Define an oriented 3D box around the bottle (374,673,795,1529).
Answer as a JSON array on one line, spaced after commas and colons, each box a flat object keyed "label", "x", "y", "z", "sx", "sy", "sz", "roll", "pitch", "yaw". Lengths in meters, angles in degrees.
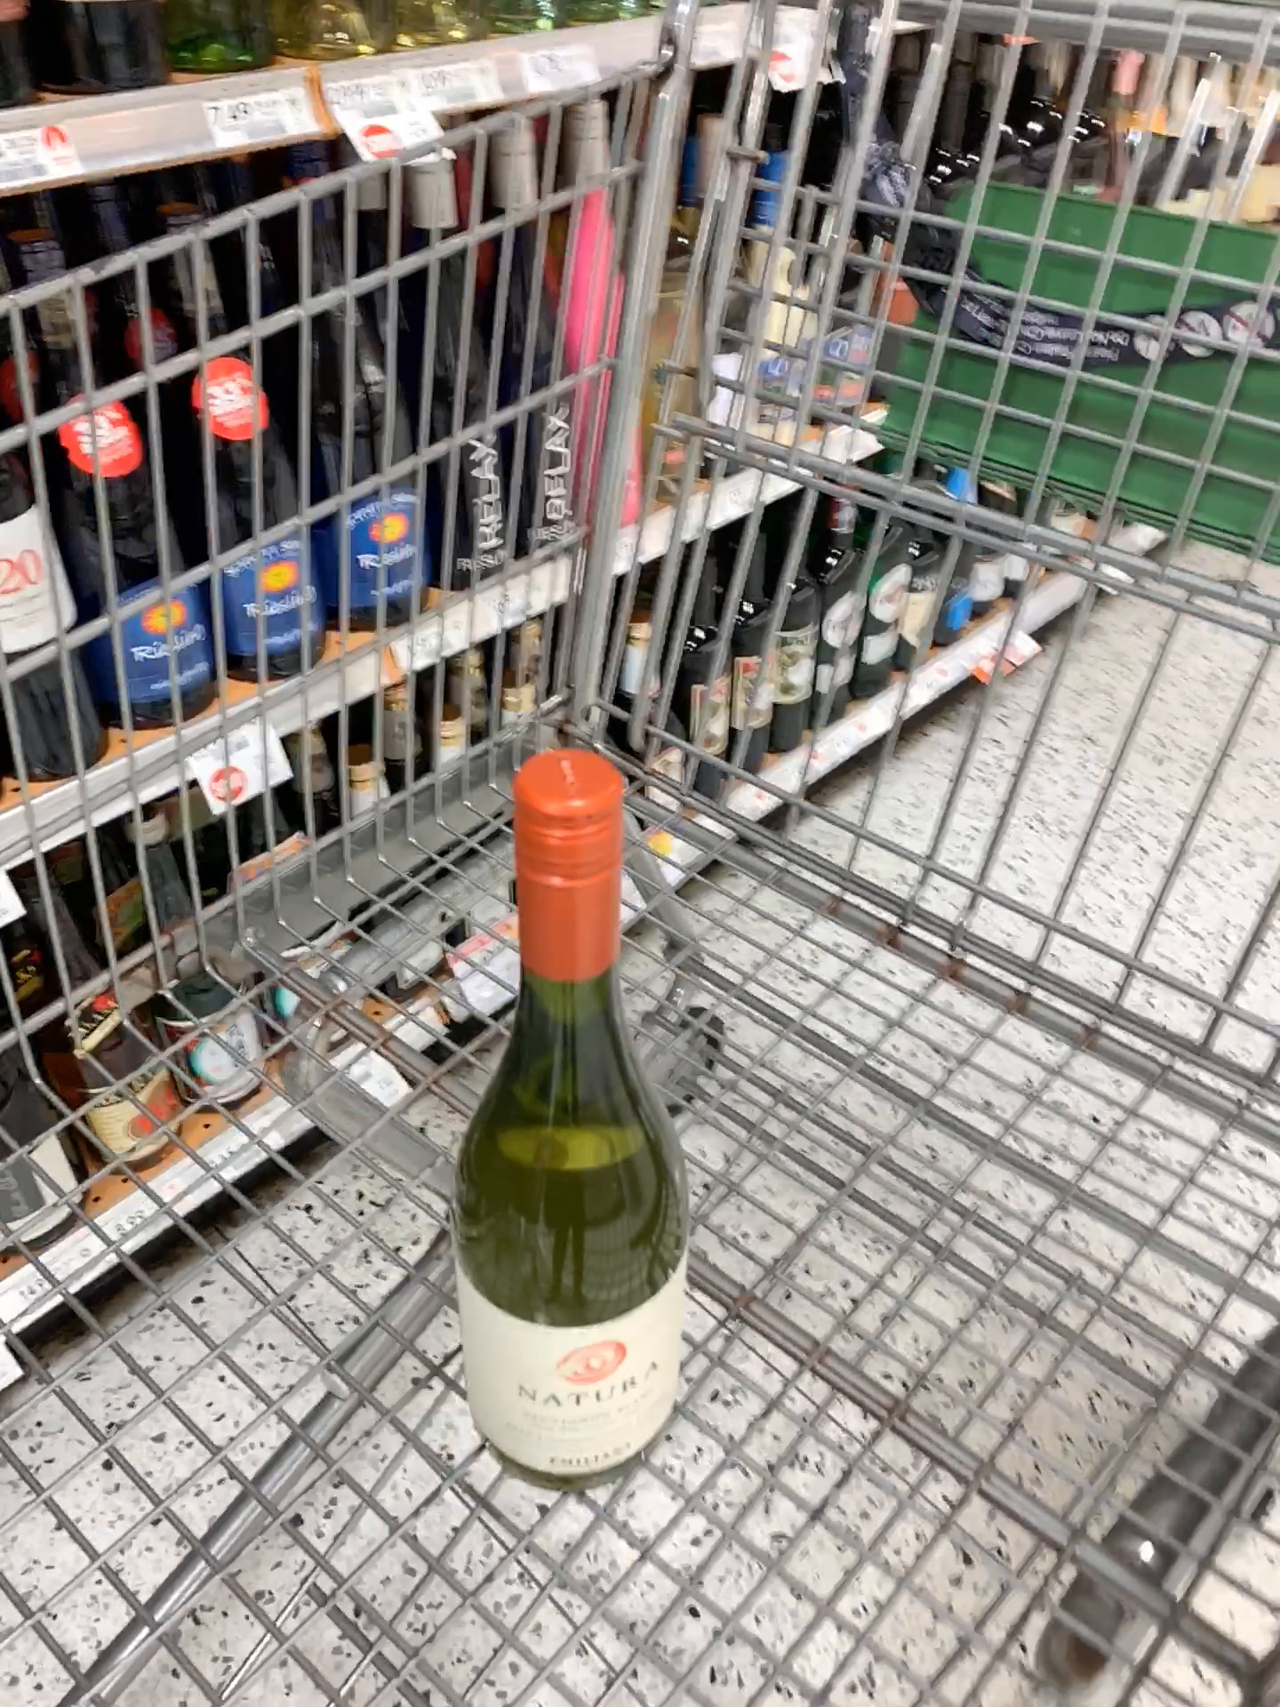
[{"label": "bottle", "x": -0.018, "y": 0.096, "z": 0.404, "sx": 0.090, "sy": 0.297, "sz": 0.081, "roll": -4, "pitch": 40, "yaw": -6}]
